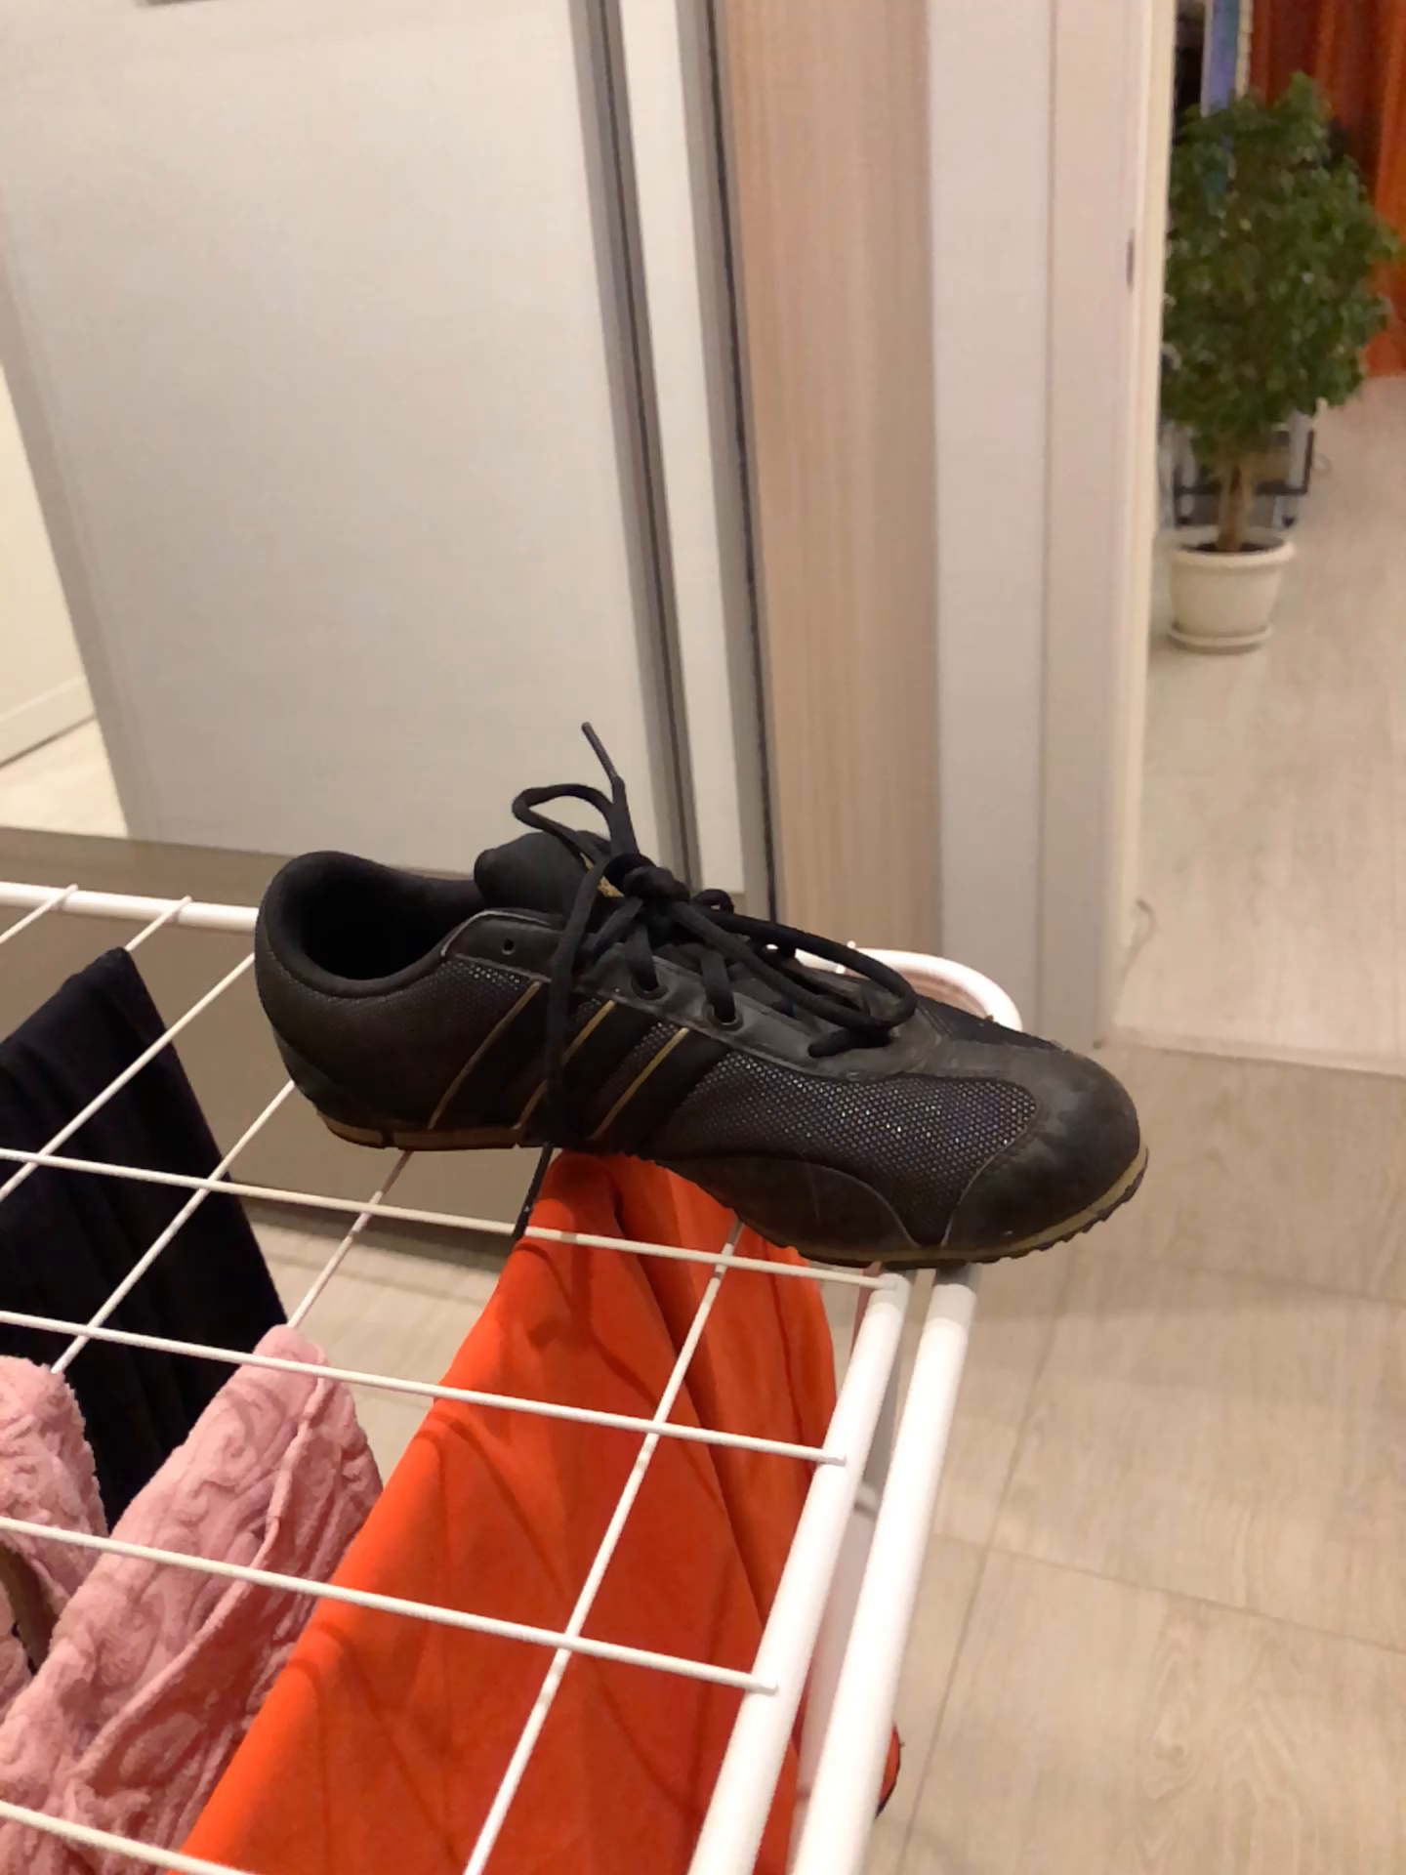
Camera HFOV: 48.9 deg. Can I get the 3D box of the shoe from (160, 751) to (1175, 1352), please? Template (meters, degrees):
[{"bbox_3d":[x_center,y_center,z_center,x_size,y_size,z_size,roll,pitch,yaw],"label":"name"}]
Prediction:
[{"bbox_3d":[-0.009,0.019,0.443,0.260,0.099,0.099,7,29,23],"label":"shoe"}]
